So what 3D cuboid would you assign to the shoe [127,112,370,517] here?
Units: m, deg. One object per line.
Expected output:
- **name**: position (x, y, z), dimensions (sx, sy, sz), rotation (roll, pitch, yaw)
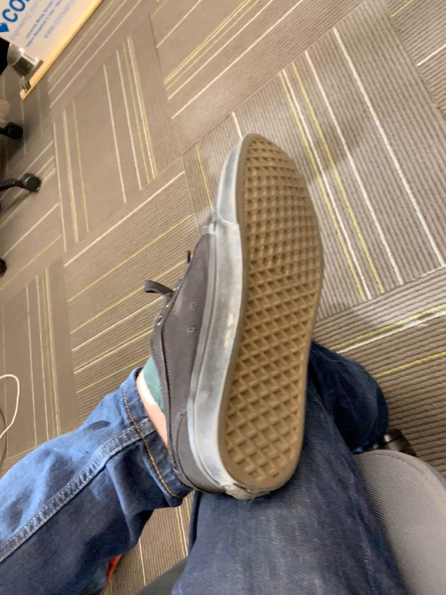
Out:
- **shoe**: position (0.010, 0.019, 0.373), dimensions (0.135, 0.119, 0.260), rotation (-19, 67, 46)
